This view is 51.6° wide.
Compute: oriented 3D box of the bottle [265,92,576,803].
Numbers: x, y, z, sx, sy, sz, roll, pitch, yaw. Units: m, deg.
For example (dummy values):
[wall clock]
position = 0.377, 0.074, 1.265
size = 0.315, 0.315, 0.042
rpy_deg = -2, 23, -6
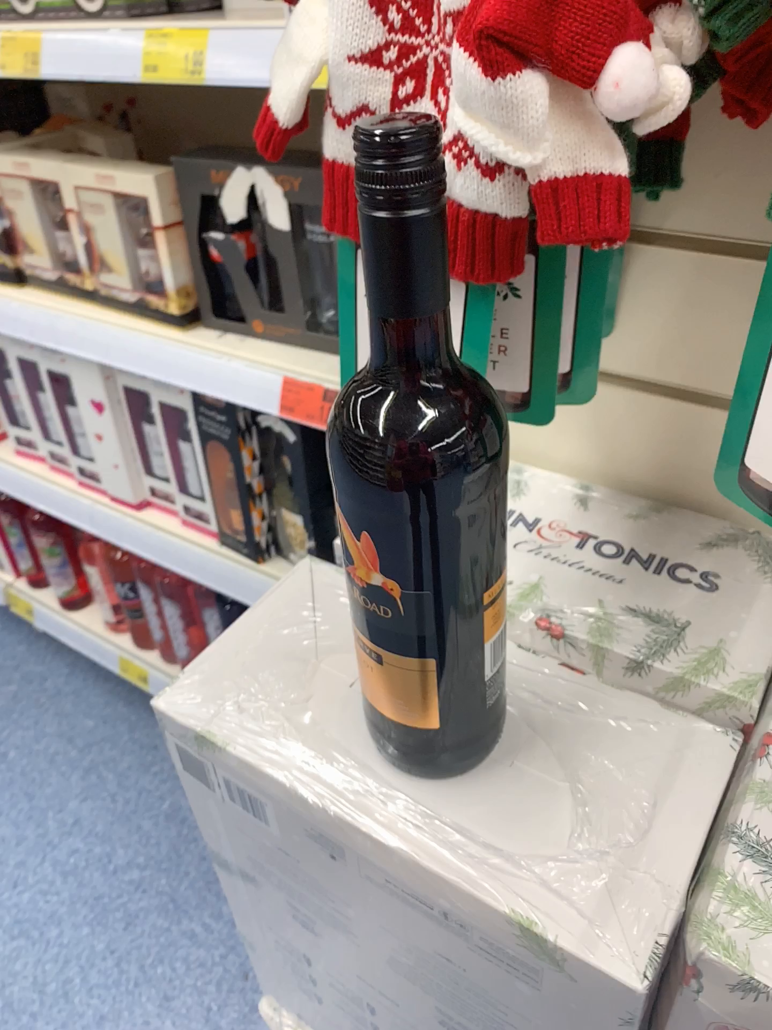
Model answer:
[bottle]
position = 0.015, -0.010, 0.341
size = 0.074, 0.288, 0.078
rpy_deg = -3, 35, 2
